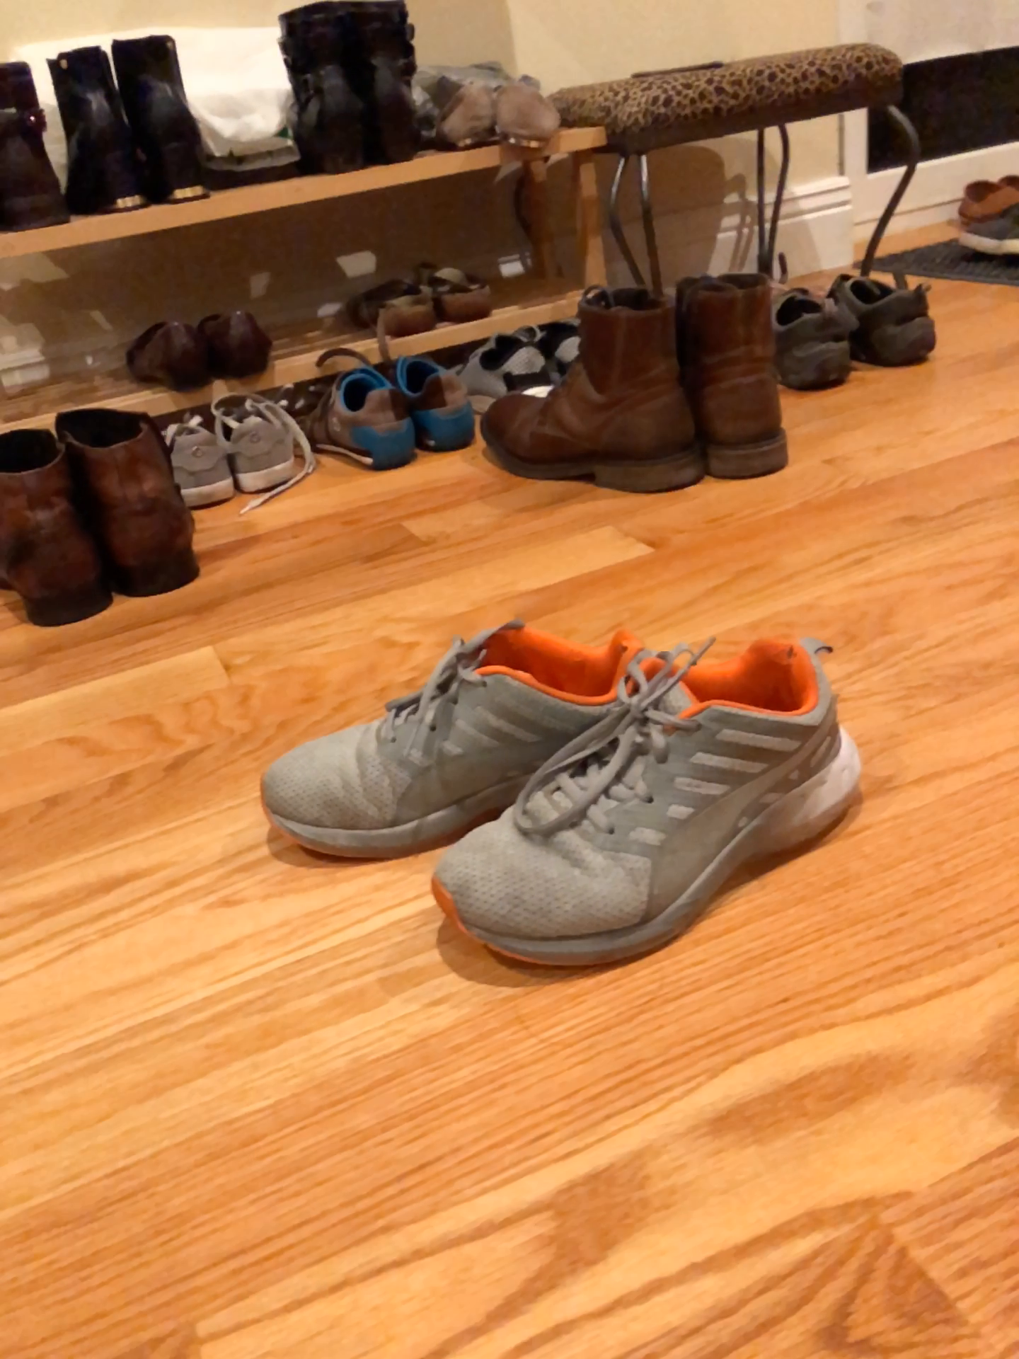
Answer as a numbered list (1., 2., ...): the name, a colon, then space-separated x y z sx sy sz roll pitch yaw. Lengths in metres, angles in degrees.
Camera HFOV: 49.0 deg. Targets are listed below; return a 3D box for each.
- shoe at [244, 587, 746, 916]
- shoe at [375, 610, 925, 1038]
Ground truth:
1. shoe: -0.008 0.036 0.625 0.250 0.099 0.101 -11 27 -4
2. shoe: 0.075 0.058 0.560 0.250 0.080 0.110 -22 30 -24
